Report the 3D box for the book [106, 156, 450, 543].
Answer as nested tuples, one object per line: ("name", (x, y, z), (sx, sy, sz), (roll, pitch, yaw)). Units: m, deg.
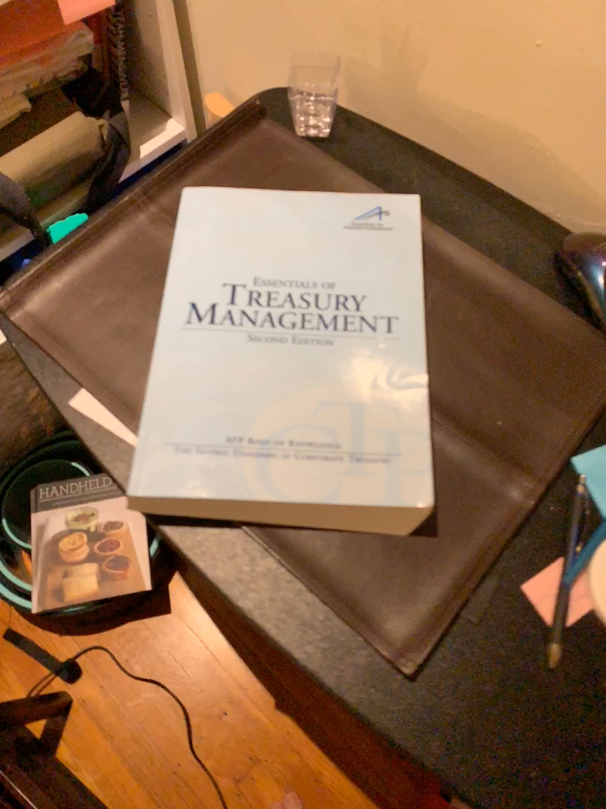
("book", (-0.006, -0.056, 0.485), (0.220, 0.060, 0.301), (4, 65, 2))
